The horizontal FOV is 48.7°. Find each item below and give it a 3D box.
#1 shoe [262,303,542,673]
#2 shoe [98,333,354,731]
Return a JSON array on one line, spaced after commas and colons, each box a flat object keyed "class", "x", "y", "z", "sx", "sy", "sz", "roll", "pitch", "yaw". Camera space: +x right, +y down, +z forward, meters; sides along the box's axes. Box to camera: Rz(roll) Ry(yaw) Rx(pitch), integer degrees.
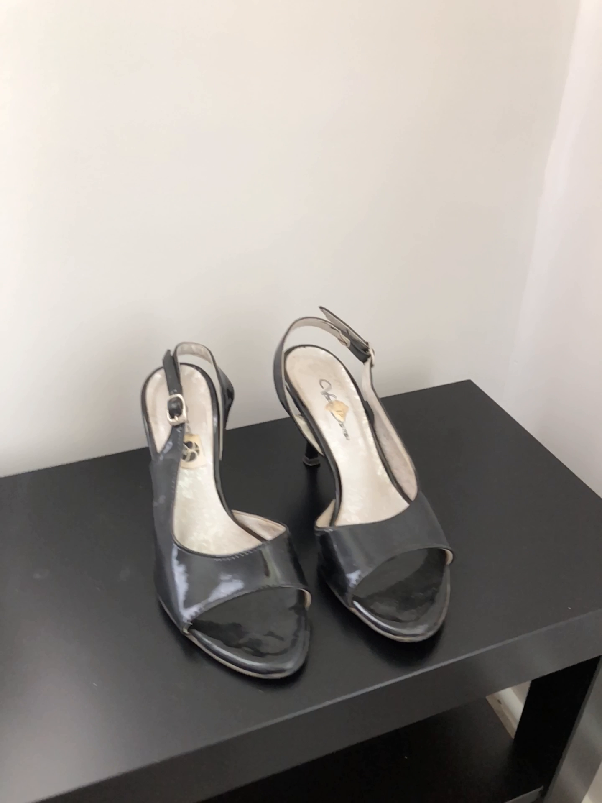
[{"class": "shoe", "x": 0.043, "y": 0.036, "z": 0.417, "sx": 0.083, "sy": 0.110, "sz": 0.211, "roll": -9, "pitch": 34, "yaw": -14}, {"class": "shoe", "x": -0.055, "y": 0.060, "z": 0.403, "sx": 0.083, "sy": 0.110, "sz": 0.211, "roll": -13, "pitch": 35, "yaw": -19}]
